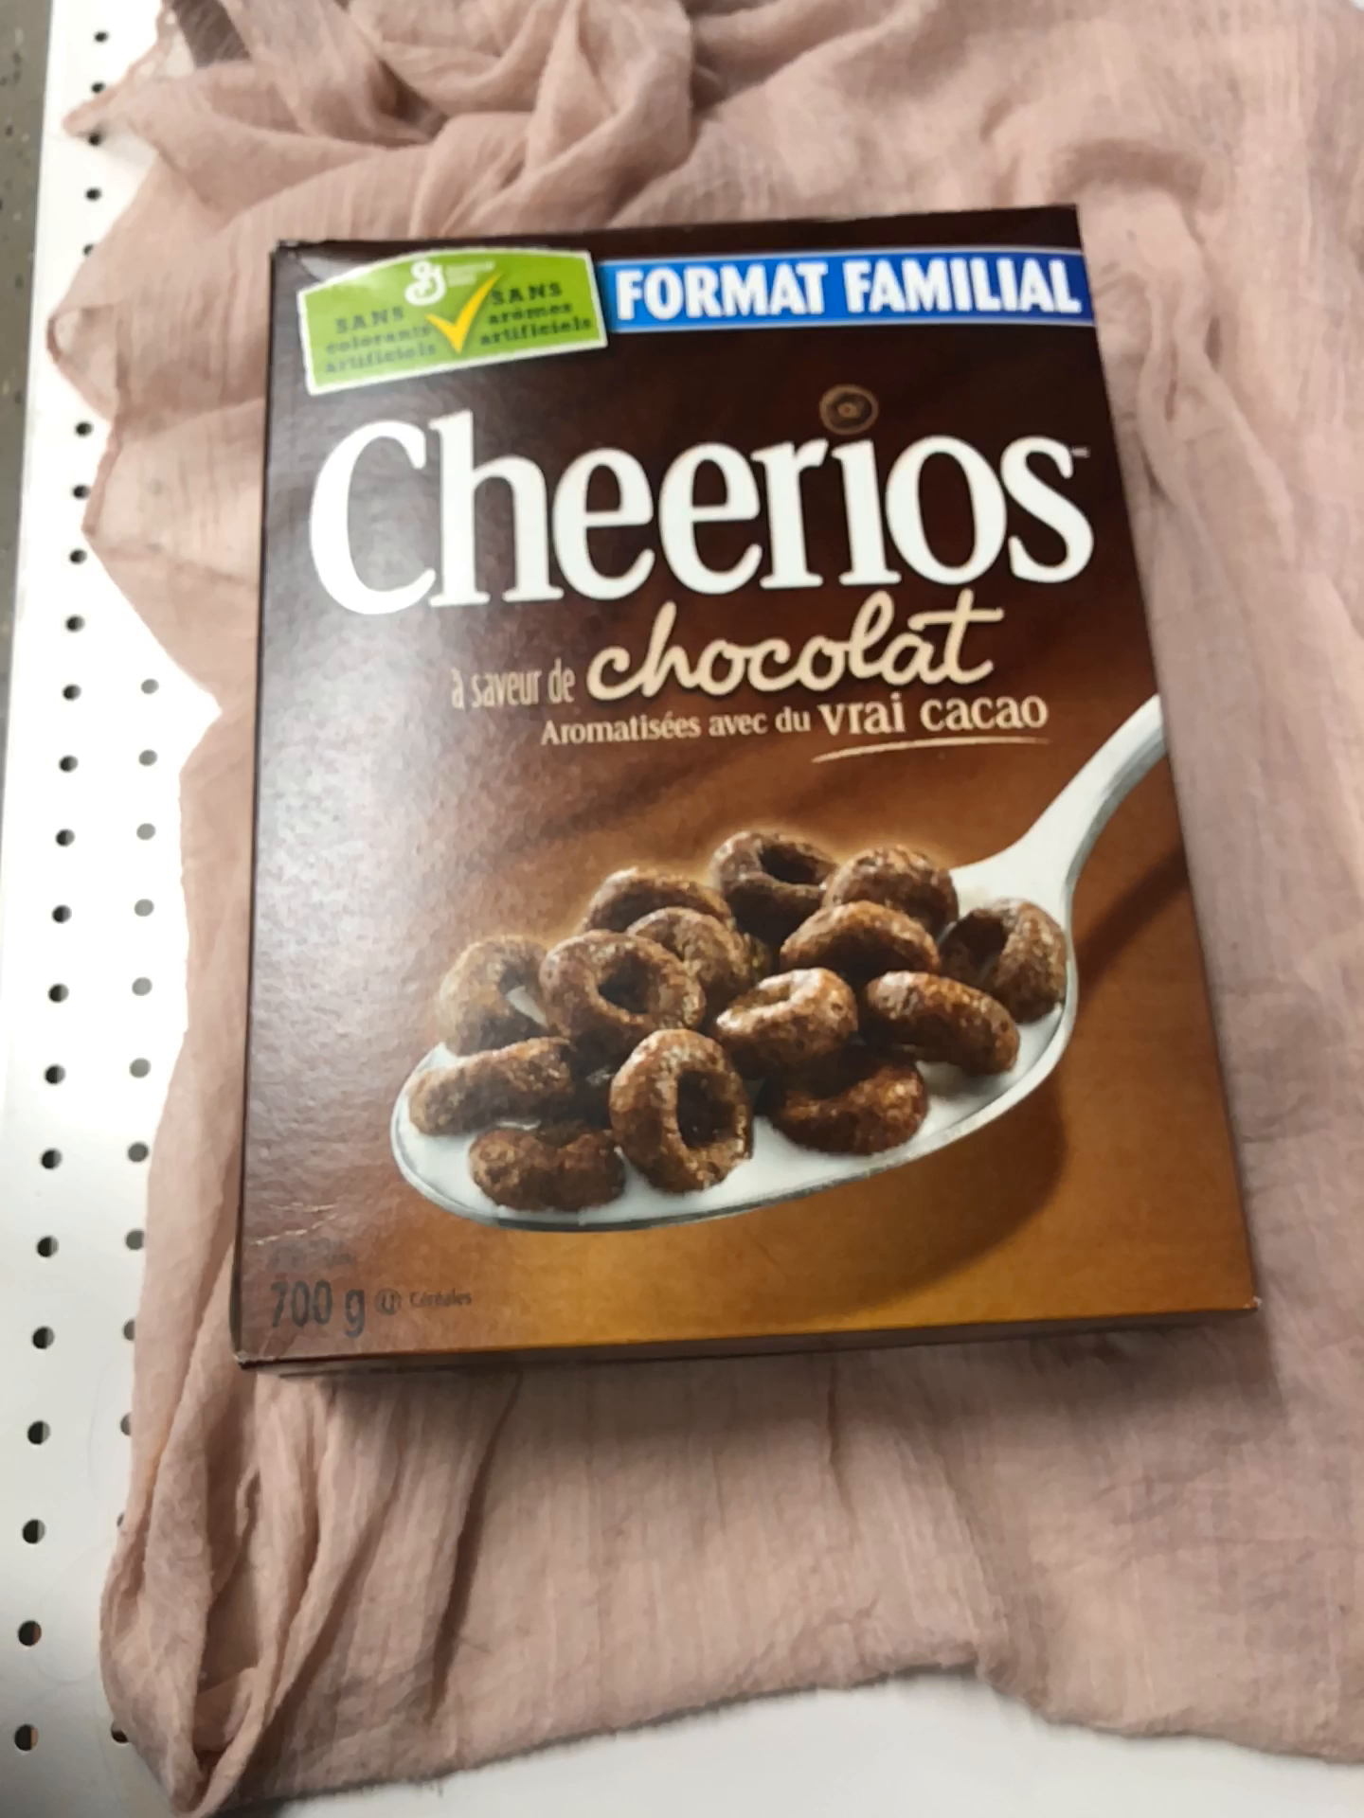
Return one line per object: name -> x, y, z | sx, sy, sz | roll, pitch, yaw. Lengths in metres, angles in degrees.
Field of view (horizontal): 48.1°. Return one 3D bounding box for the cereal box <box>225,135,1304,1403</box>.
cereal box -> 0.010, -0.044, 0.422 | 0.230, 0.090, 0.330 | -3, 71, 0
